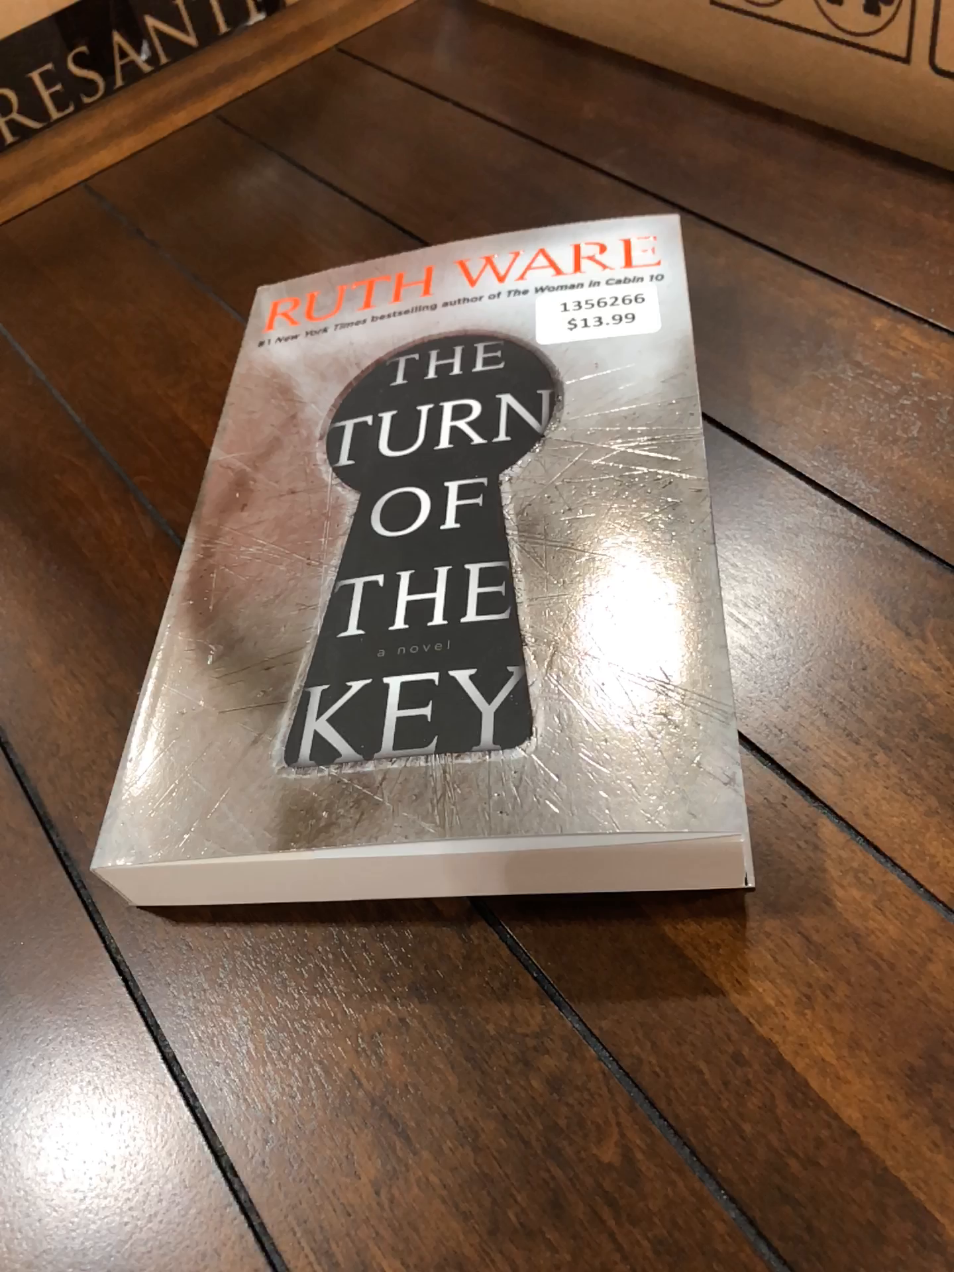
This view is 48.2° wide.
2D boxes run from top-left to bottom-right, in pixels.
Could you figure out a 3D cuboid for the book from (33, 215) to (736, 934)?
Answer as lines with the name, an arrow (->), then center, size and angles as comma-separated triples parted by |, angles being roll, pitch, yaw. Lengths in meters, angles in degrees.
book -> -0.016, -0.033, 0.311 | 0.158, 0.028, 0.233 | -4, 52, 11
